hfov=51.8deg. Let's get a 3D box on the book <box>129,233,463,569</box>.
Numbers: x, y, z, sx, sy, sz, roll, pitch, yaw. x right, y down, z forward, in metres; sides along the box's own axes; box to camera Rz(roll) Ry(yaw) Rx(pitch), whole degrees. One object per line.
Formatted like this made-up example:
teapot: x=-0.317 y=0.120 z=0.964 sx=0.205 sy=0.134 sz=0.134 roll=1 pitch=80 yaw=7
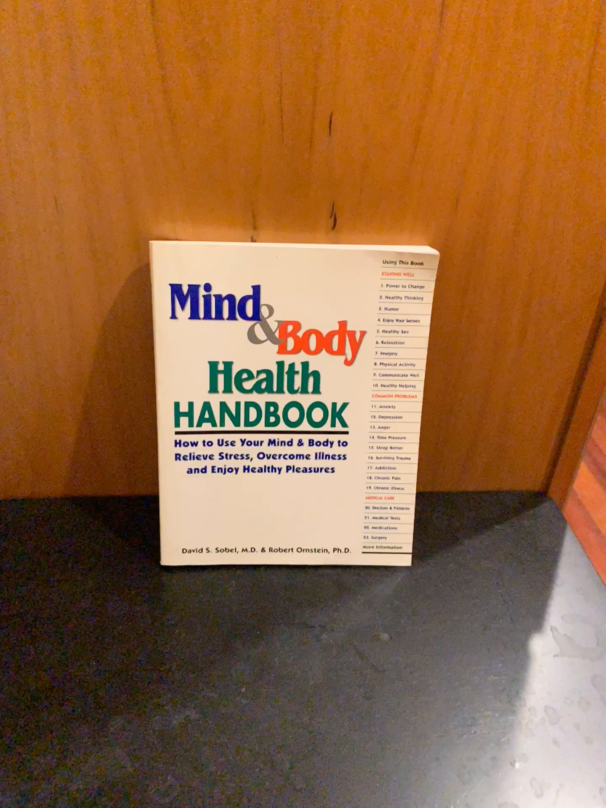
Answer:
book: x=-0.007 y=0.002 z=0.439 sx=0.210 sy=0.229 sz=0.040 roll=1 pitch=14 yaw=-3
